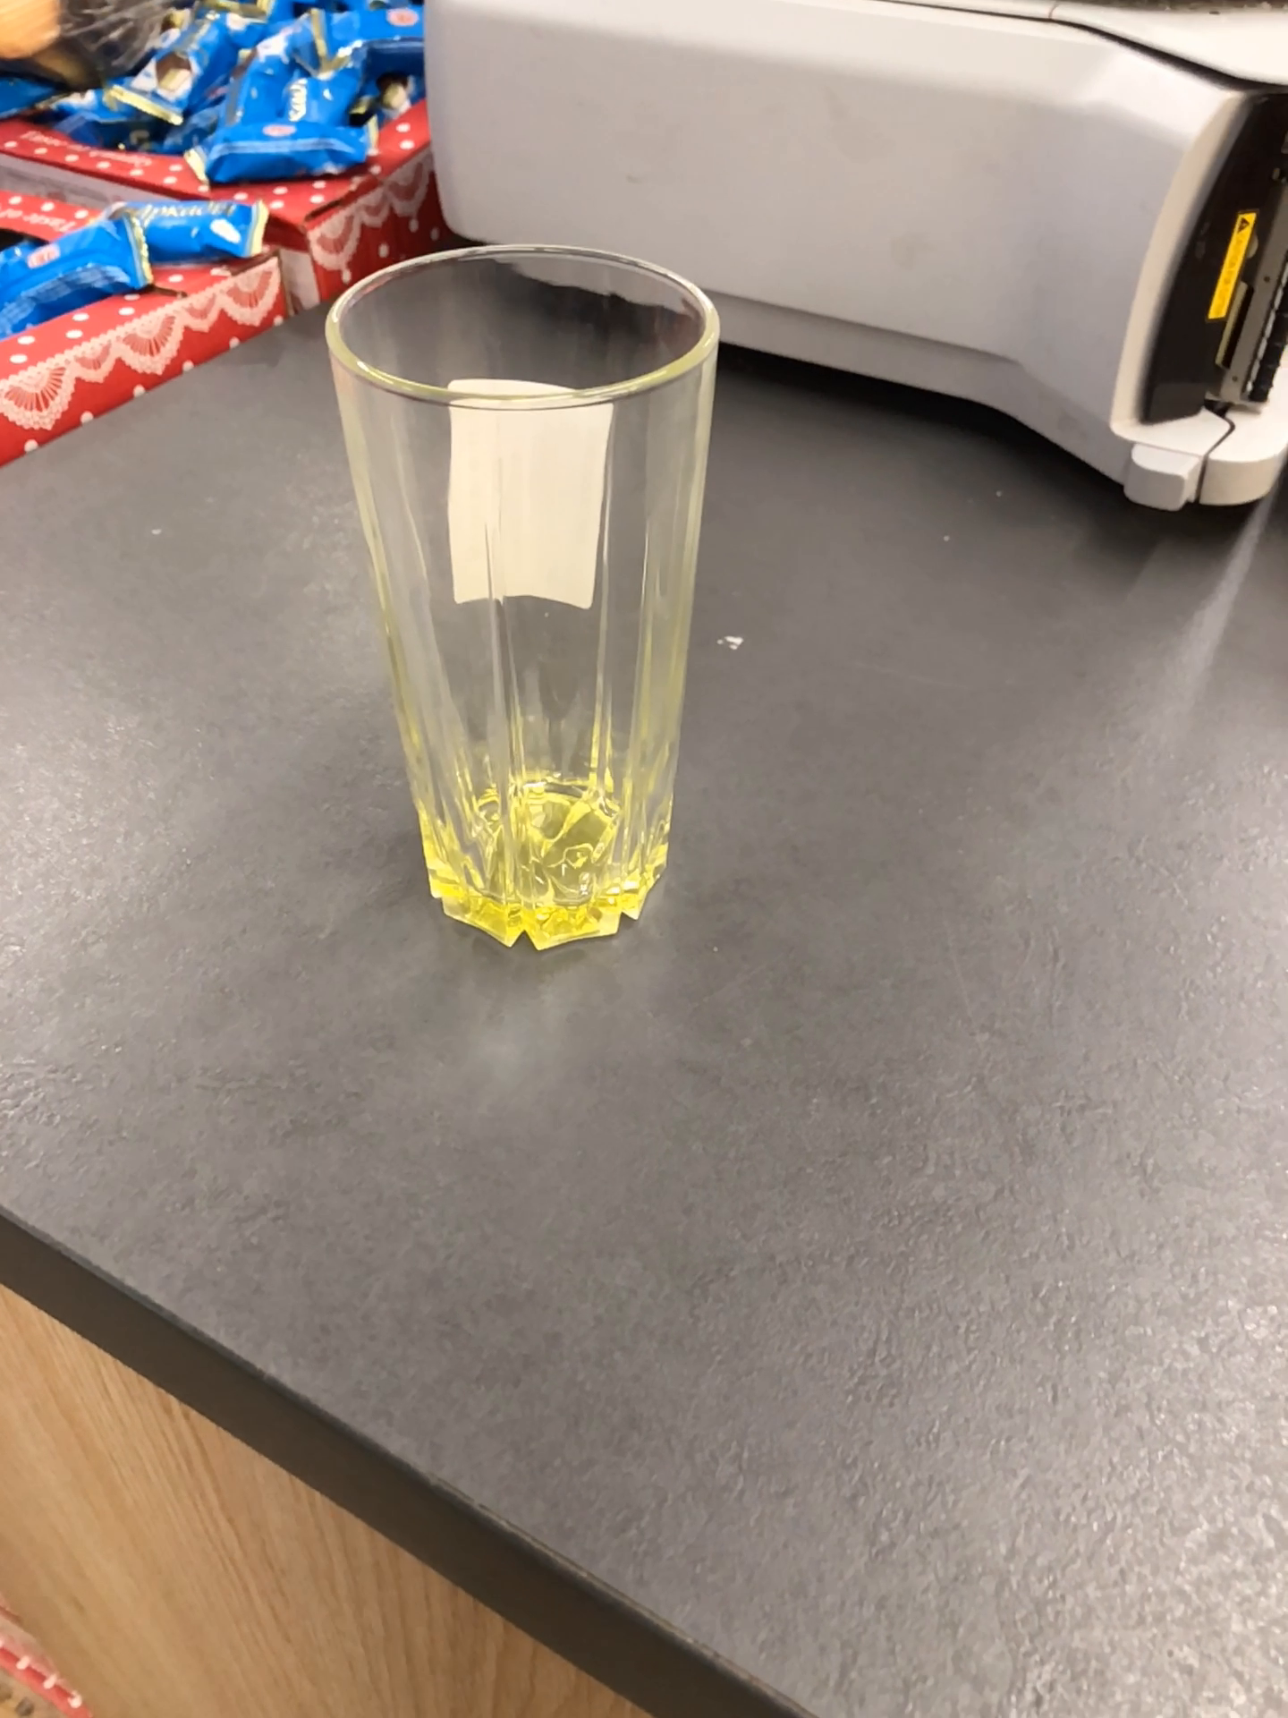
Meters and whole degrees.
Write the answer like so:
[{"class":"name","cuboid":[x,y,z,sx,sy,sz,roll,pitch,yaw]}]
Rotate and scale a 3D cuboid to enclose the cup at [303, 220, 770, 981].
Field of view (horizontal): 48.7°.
[{"class":"cup","cuboid":[-0.023,-0.050,0.299,0.075,0.134,0.070,0,42,0]}]
